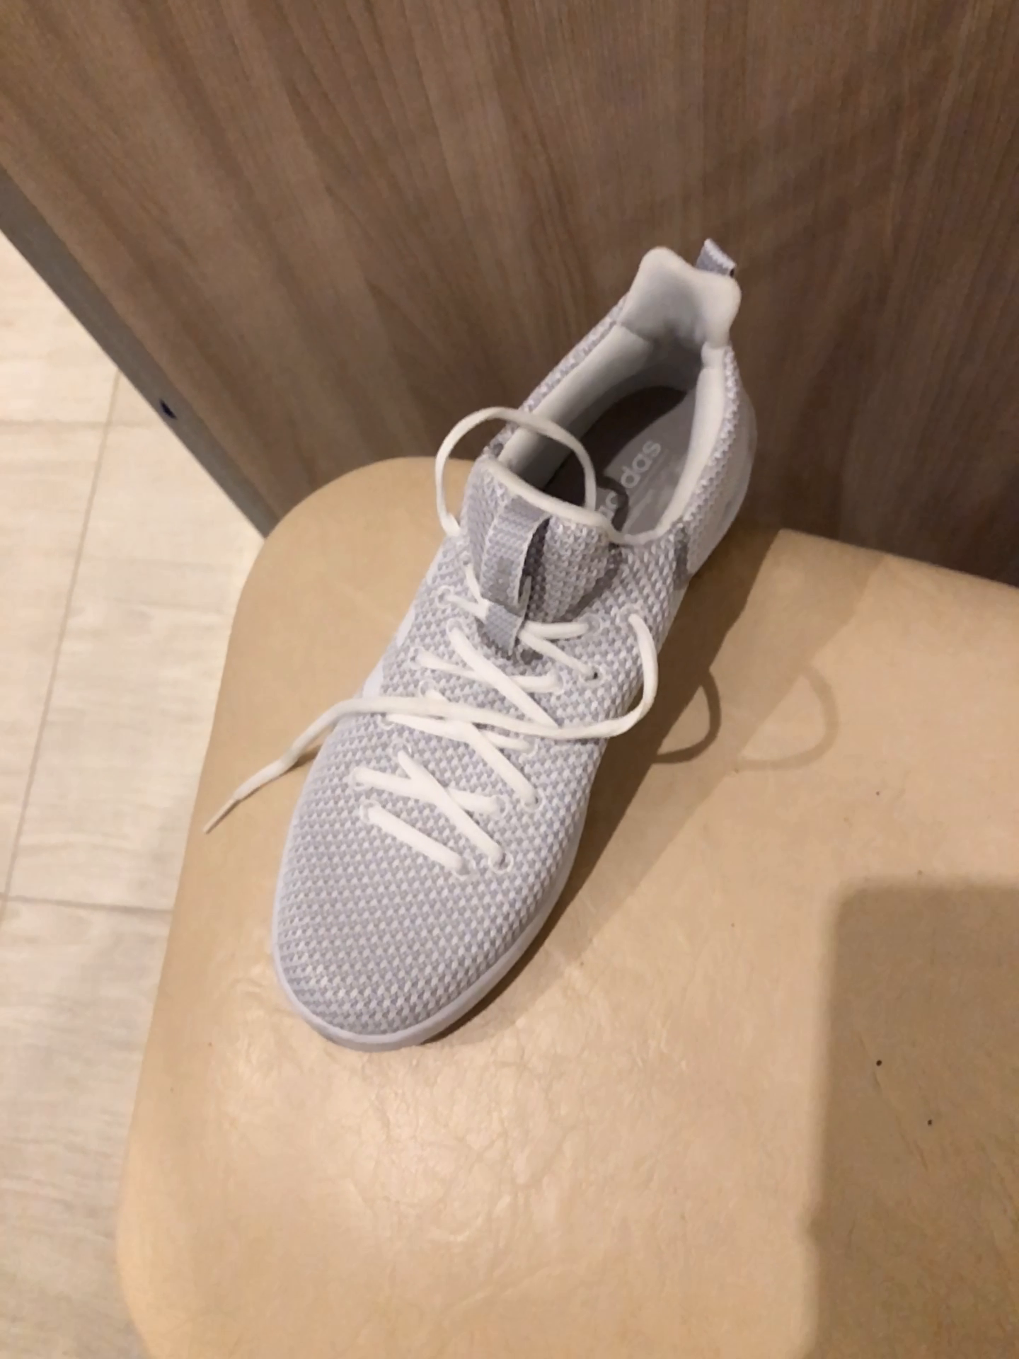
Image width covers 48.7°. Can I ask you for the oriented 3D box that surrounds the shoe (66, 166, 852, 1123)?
[{"bbox_3d":[-0.002,-0.010,0.414,0.110,0.130,0.300,28,79,16],"label":"shoe"}]
